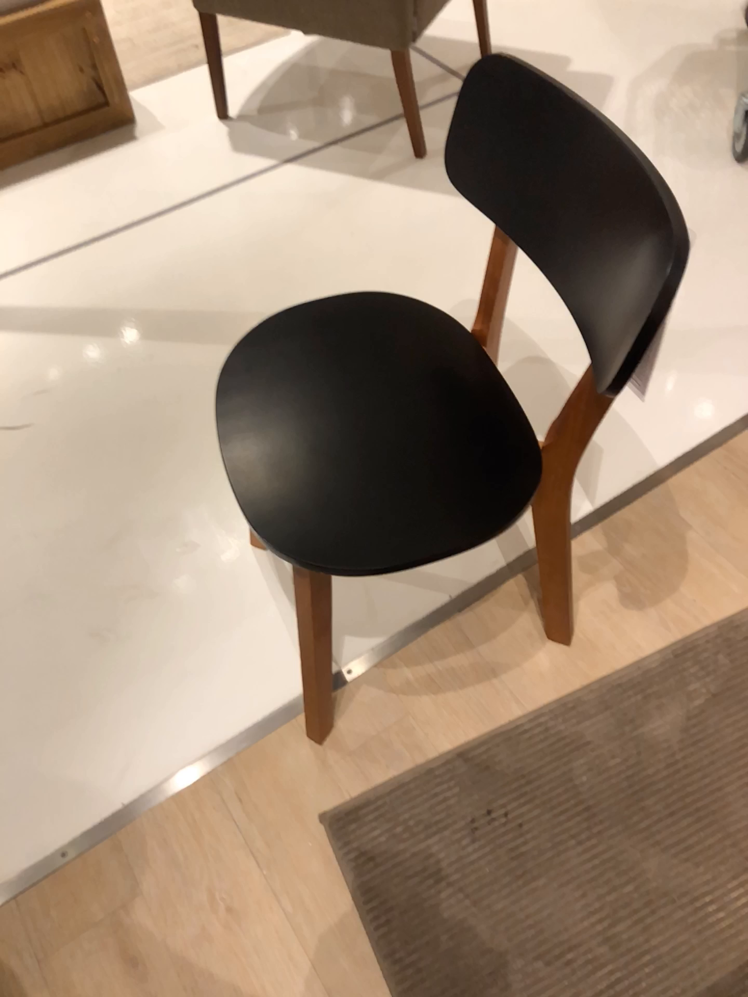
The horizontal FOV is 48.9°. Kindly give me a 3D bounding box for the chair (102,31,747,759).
[{"bbox_3d":[0.034,-0.087,1.061,0.480,0.706,0.463,-18,54,-9],"label":"chair"}]
